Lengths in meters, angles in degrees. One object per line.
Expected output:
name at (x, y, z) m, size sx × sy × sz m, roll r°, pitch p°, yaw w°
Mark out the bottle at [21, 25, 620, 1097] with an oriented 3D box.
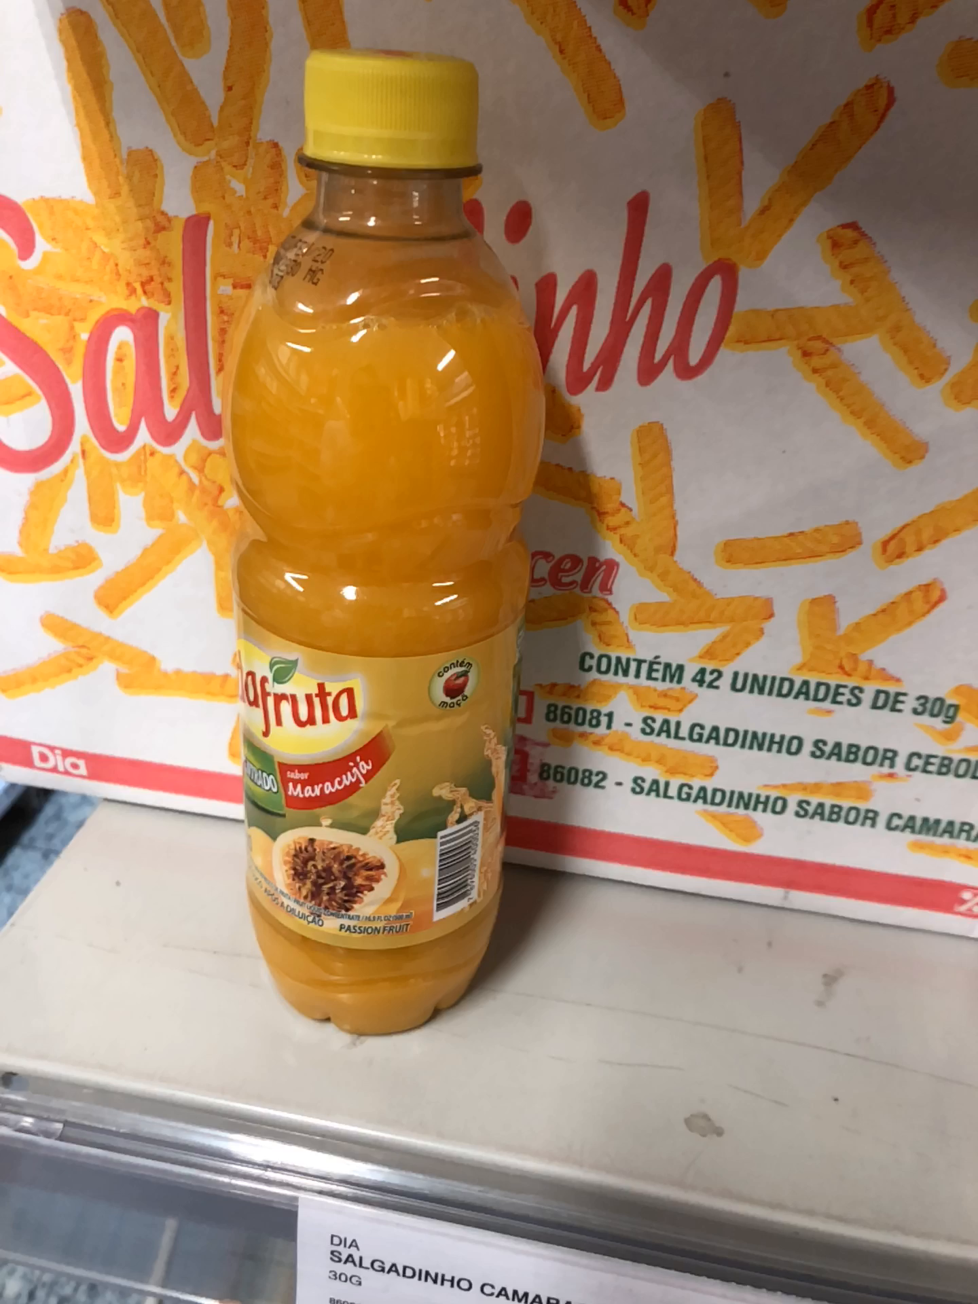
bottle at (-0.028, -0.009, 0.222) m, size 0.070 × 0.198 × 0.060 m, roll 17°, pitch 35°, yaw 20°
